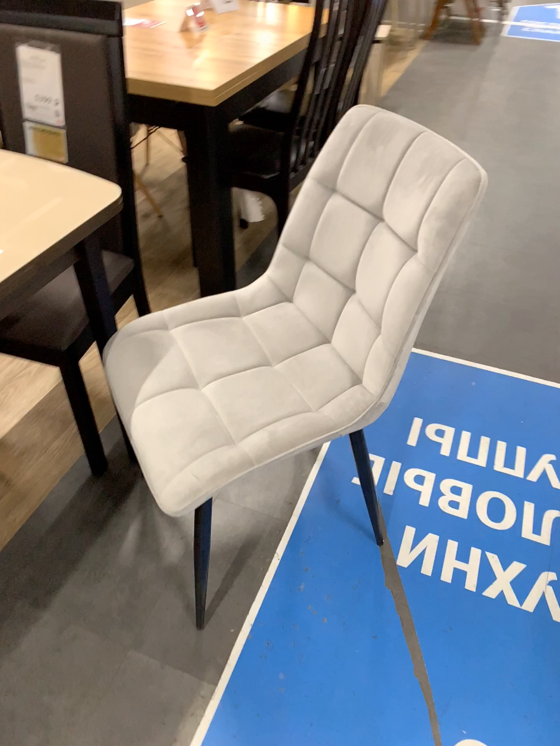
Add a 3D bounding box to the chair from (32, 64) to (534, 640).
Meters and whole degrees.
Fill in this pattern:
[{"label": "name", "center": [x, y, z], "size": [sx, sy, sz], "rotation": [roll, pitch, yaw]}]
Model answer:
[{"label": "chair", "center": [-0.029, -0.009, 1.180], "size": [0.601, 0.974, 0.482], "rotation": [-17, 45, -19]}]
